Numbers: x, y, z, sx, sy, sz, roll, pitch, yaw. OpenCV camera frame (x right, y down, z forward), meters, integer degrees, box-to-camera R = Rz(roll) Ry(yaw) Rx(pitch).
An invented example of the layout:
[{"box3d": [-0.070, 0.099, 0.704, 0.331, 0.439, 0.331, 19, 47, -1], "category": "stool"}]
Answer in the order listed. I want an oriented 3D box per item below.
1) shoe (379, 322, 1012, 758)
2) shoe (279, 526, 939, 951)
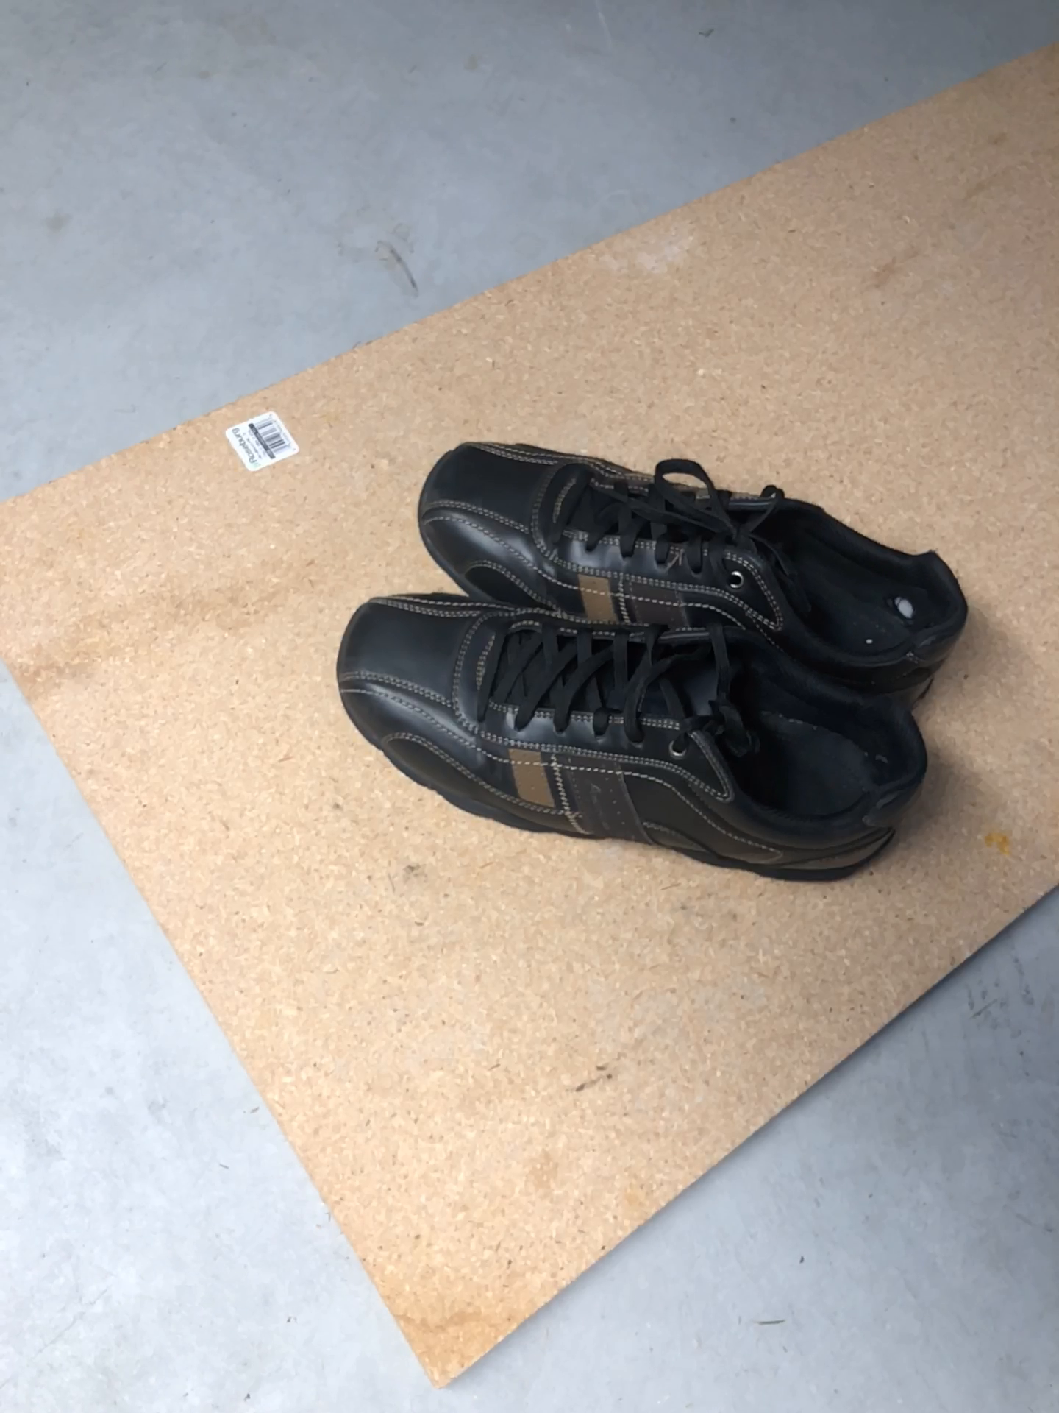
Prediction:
[{"box3d": [0.078, -0.079, 0.603, 0.290, 0.100, 0.100, 19, 72, -1], "category": "shoe"}, {"box3d": [0.037, 0.019, 0.599, 0.300, 0.100, 0.100, 17, 62, 3], "category": "shoe"}]
